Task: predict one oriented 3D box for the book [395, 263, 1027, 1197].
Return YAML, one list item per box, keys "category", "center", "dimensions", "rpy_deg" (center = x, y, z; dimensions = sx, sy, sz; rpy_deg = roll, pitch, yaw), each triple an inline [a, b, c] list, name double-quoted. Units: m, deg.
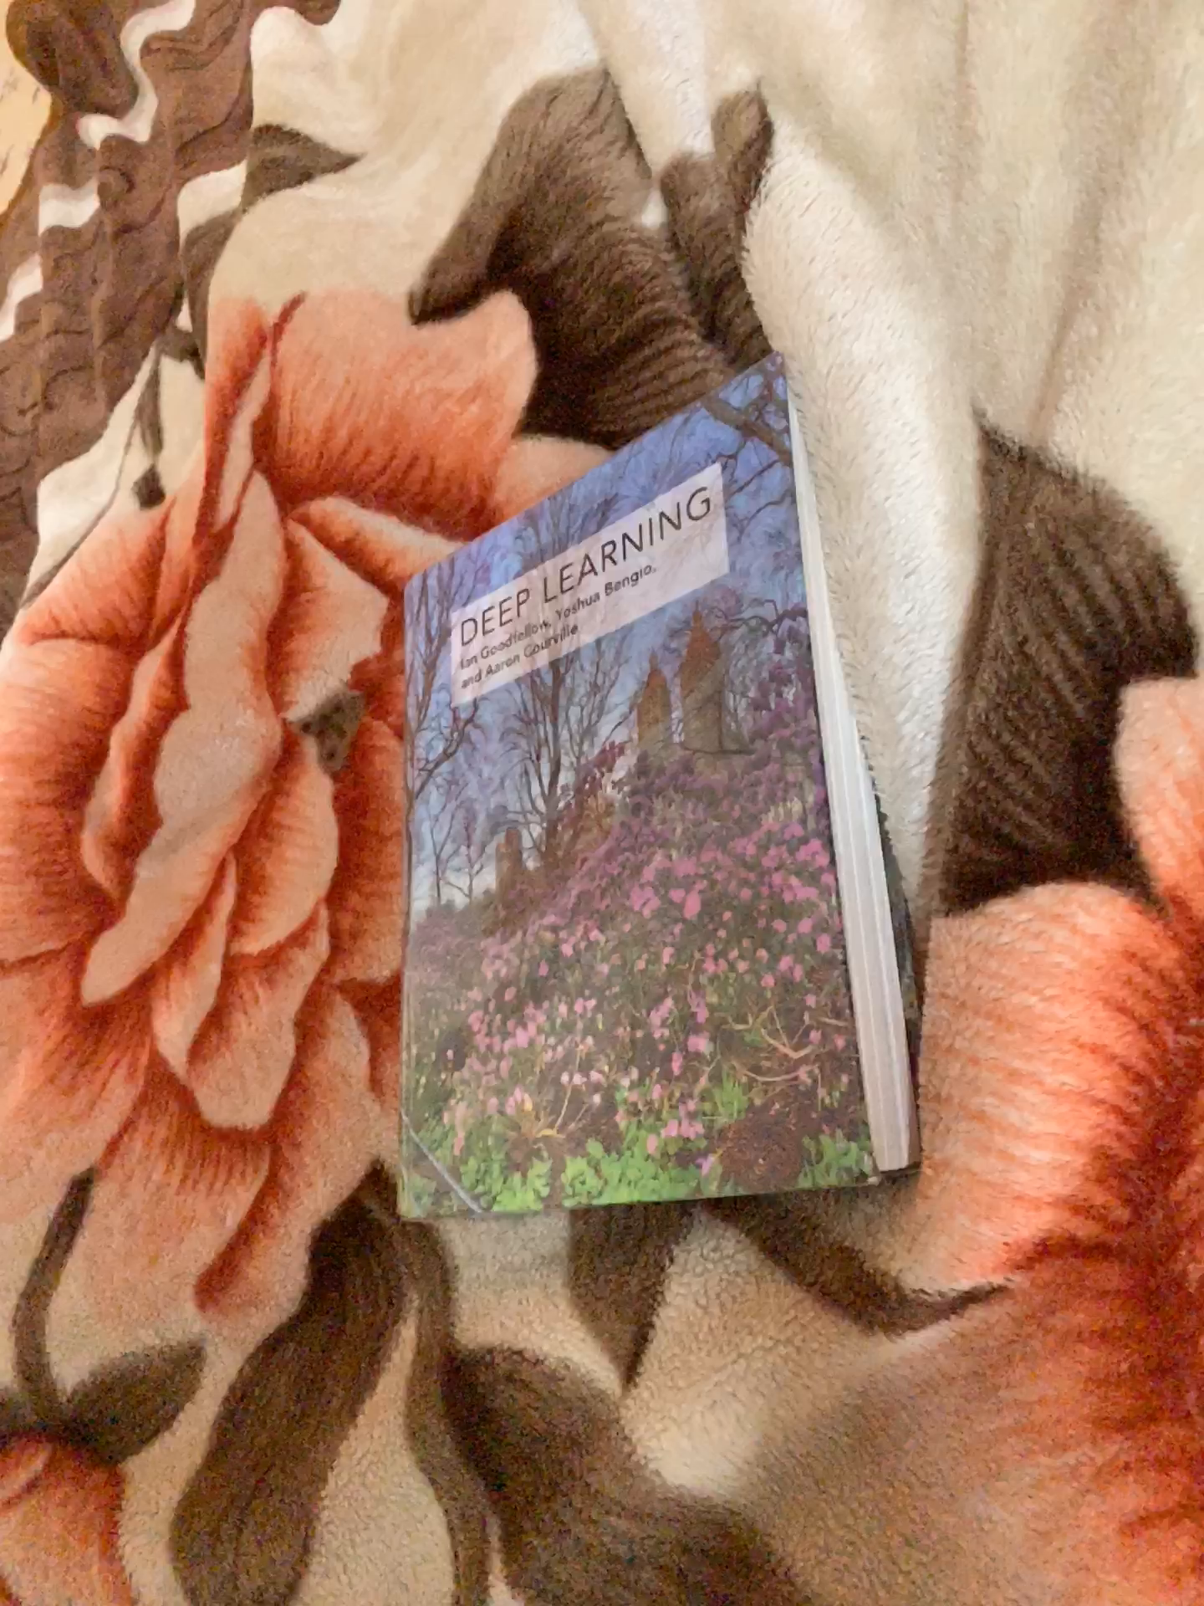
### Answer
- category: "book"
  center: [0.013, -0.012, 0.410]
  dimensions: [0.211, 0.030, 0.261]
  rpy_deg: [-19, 63, 39]
